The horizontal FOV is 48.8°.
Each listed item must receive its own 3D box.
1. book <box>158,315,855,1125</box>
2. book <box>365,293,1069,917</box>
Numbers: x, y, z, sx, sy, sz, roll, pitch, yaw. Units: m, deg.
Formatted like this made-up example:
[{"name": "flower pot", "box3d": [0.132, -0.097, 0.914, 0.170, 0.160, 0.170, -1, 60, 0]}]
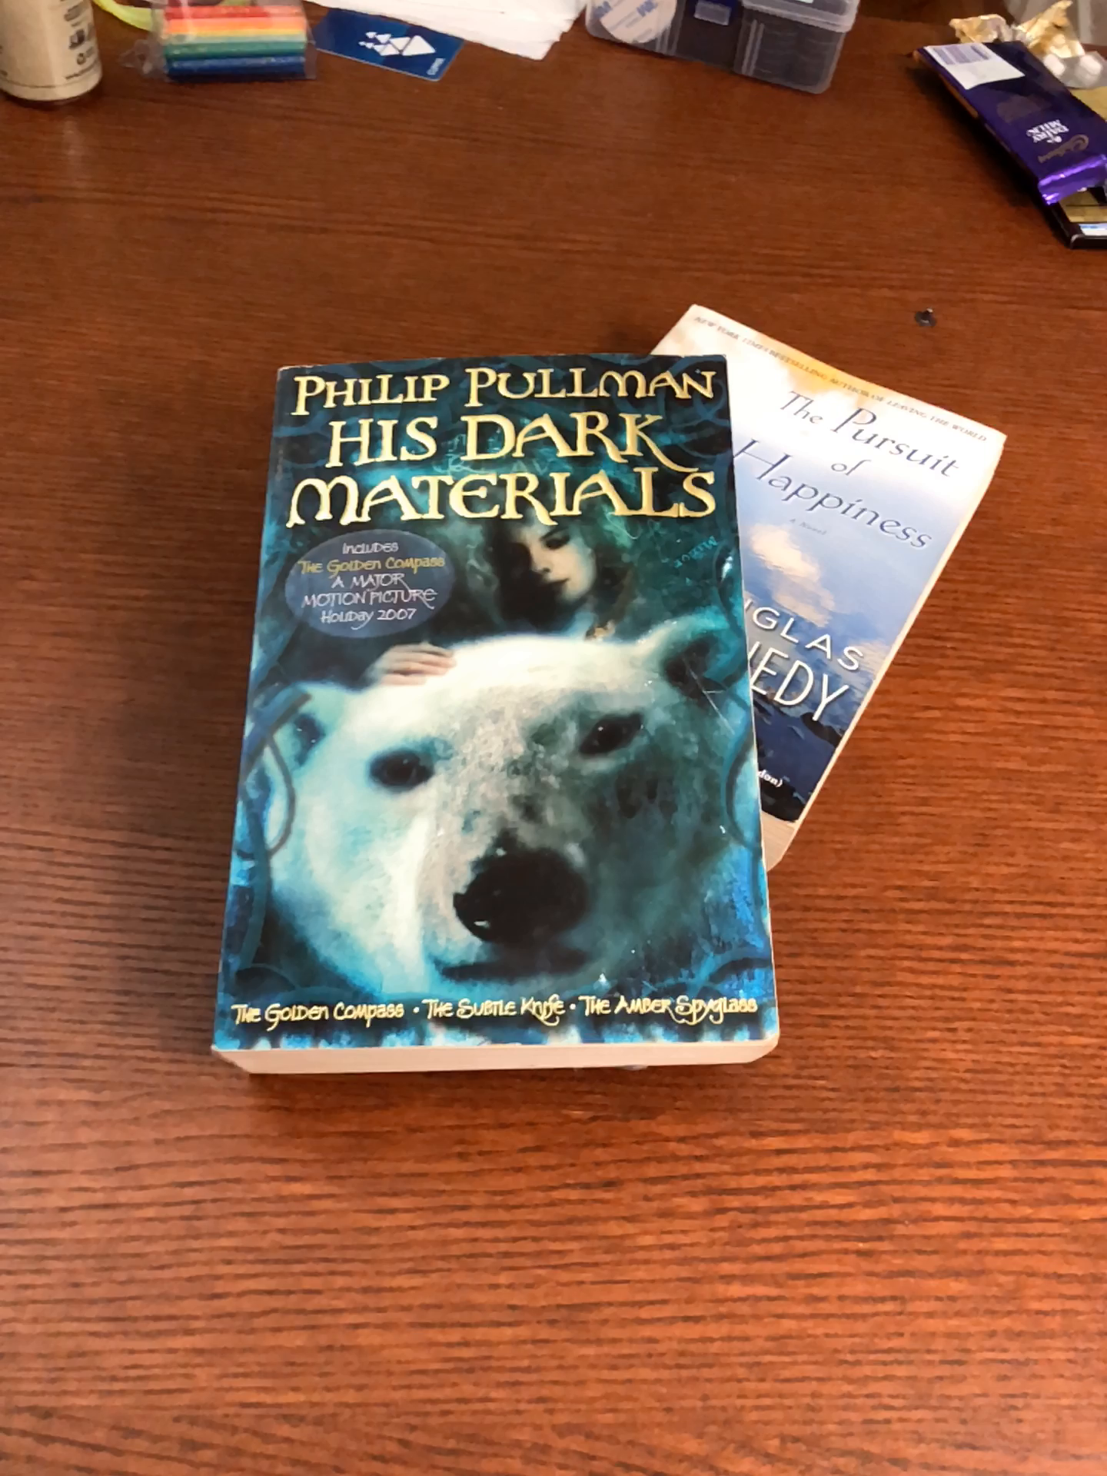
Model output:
[{"name": "book", "box3d": [-0.015, -0.013, 0.372, 0.170, 0.060, 0.241, -1, 67, -2]}, {"name": "book", "box3d": [0.071, -0.071, 0.478, 0.170, 0.040, 0.241, 28, 58, 20]}]
